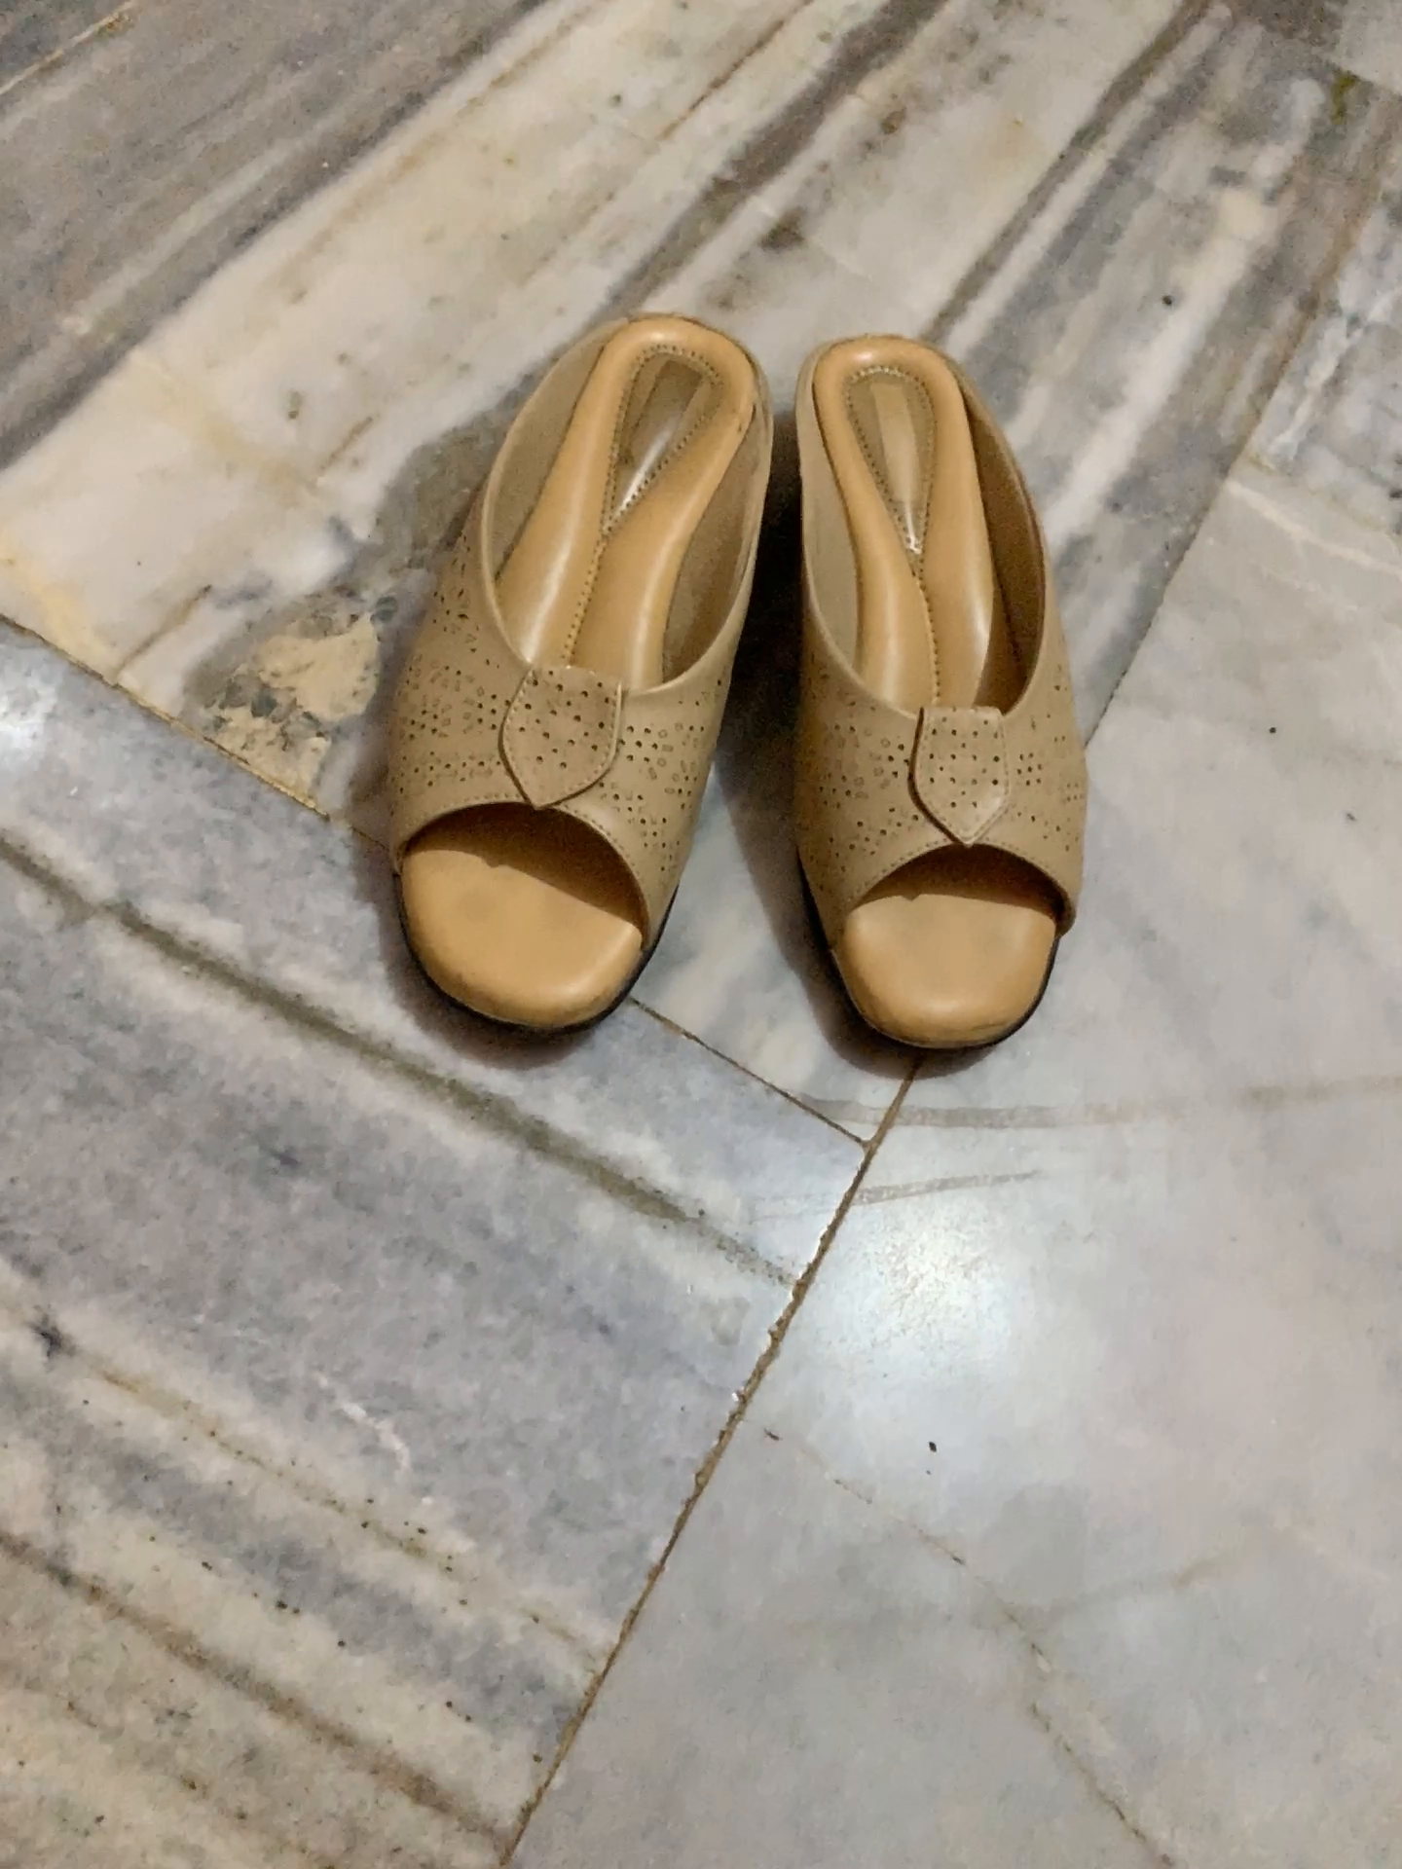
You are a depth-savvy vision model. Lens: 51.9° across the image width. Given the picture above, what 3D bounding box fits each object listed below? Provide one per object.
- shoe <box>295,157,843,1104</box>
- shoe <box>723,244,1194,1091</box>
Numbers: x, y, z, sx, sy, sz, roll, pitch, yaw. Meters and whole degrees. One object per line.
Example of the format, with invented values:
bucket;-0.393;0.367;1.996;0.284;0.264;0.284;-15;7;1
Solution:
shoe;-0.030;-0.099;0.423;0.095;0.070;0.273;13;62;-5
shoe;0.067;-0.088;0.445;0.095;0.070;0.260;3;64;-11
